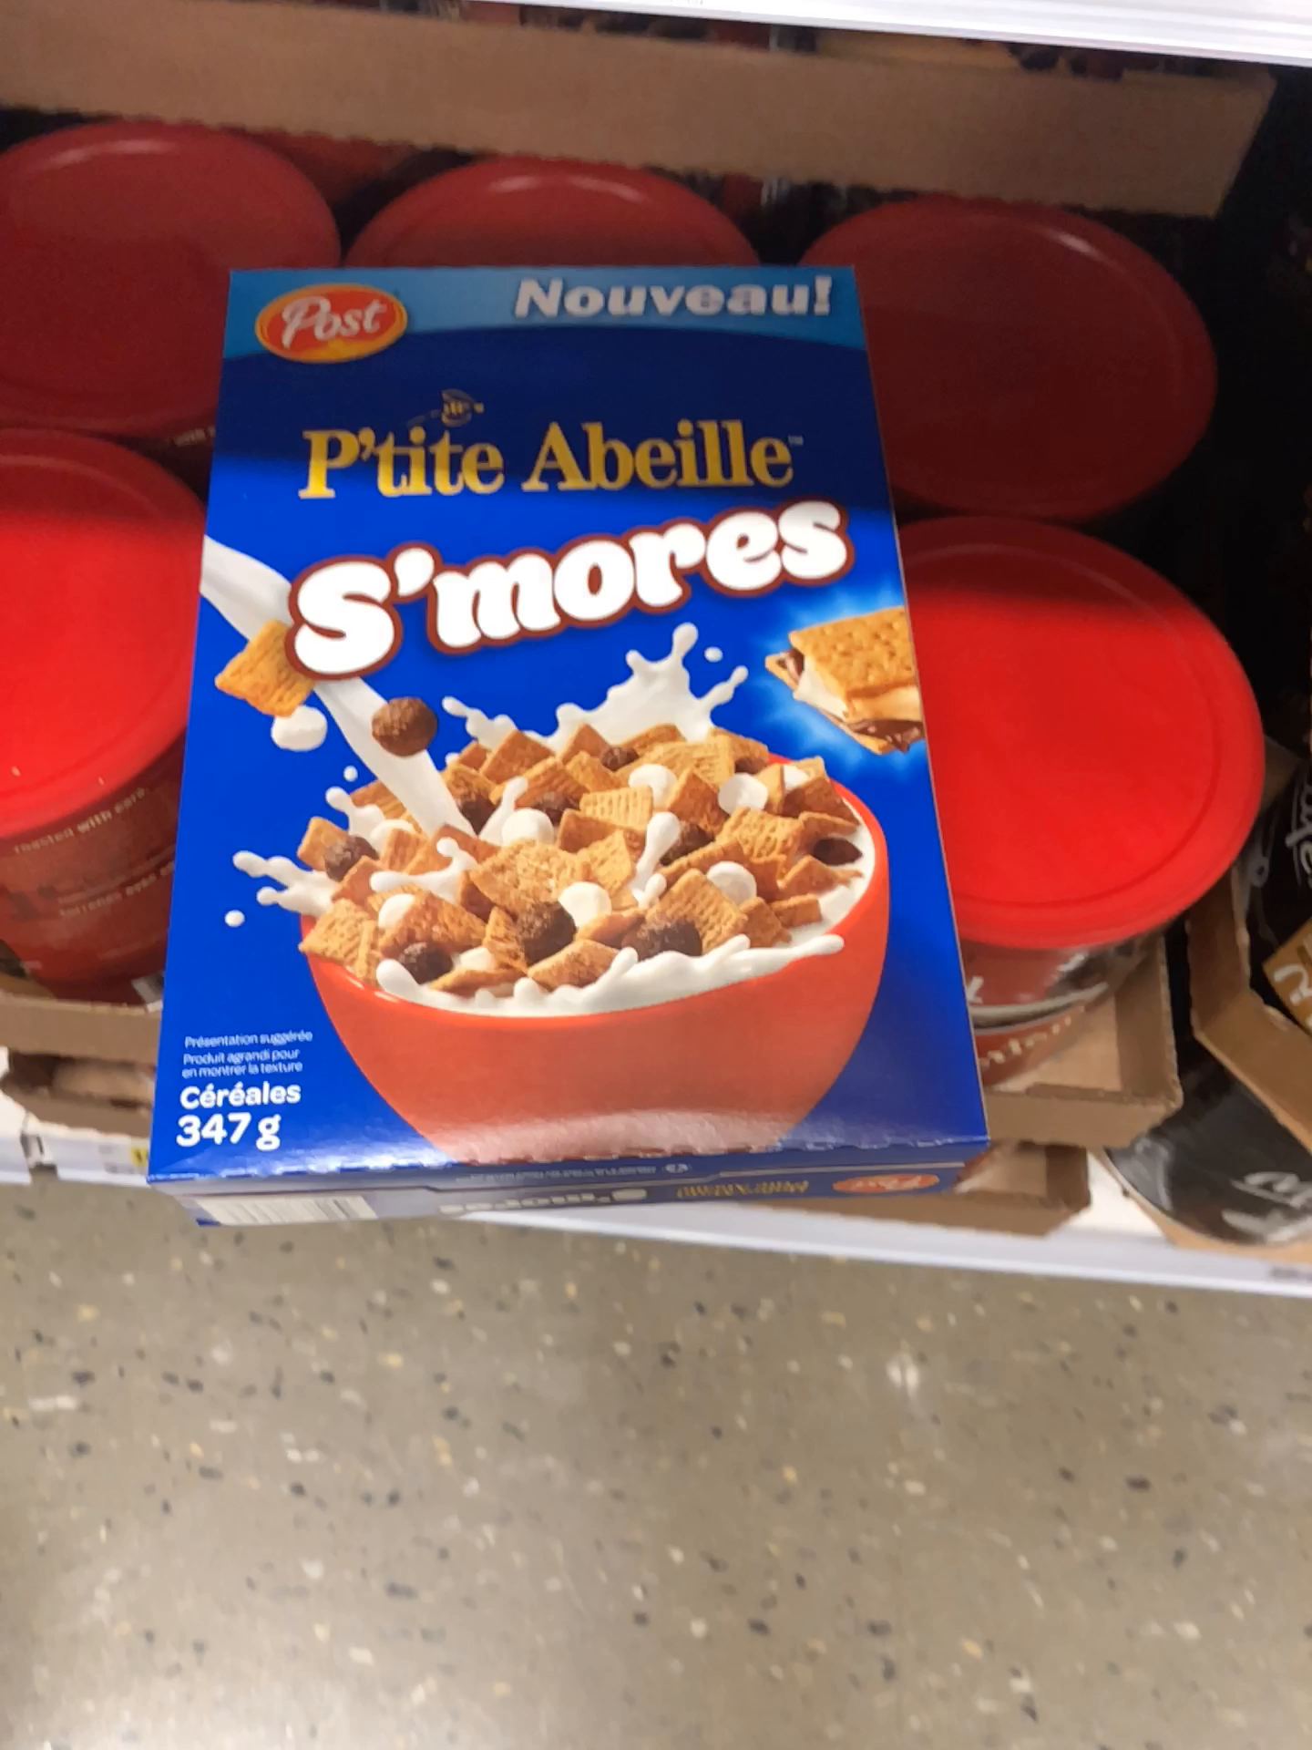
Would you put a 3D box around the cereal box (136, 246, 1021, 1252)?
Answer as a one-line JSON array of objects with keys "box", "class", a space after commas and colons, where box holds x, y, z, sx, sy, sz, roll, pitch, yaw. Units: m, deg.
[{"box": [-0.024, -0.049, 0.419, 0.200, 0.060, 0.291, -2, 65, -2], "class": "cereal box"}]
